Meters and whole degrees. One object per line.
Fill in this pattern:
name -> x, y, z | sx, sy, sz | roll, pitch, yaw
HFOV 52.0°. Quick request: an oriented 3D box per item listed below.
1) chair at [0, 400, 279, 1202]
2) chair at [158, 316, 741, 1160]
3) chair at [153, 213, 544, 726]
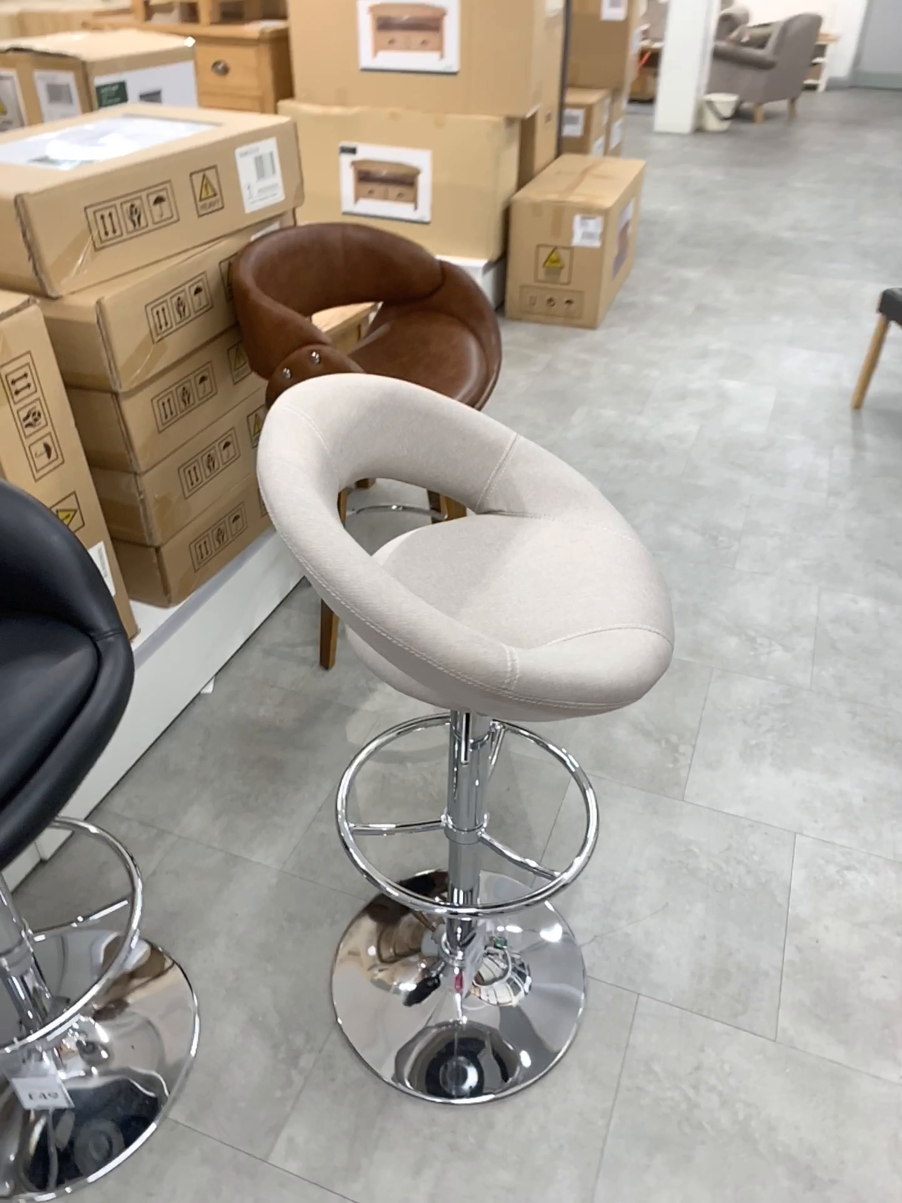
chair -> -0.581, 0.316, 1.148 | 0.483, 0.933, 0.520 | 8, 36, 10
chair -> 0.029, 0.197, 1.266 | 0.483, 0.963, 0.571 | 6, 36, 7
chair -> -0.189, -0.302, 2.023 | 0.545, 0.864, 0.519 | 21, 41, 26
